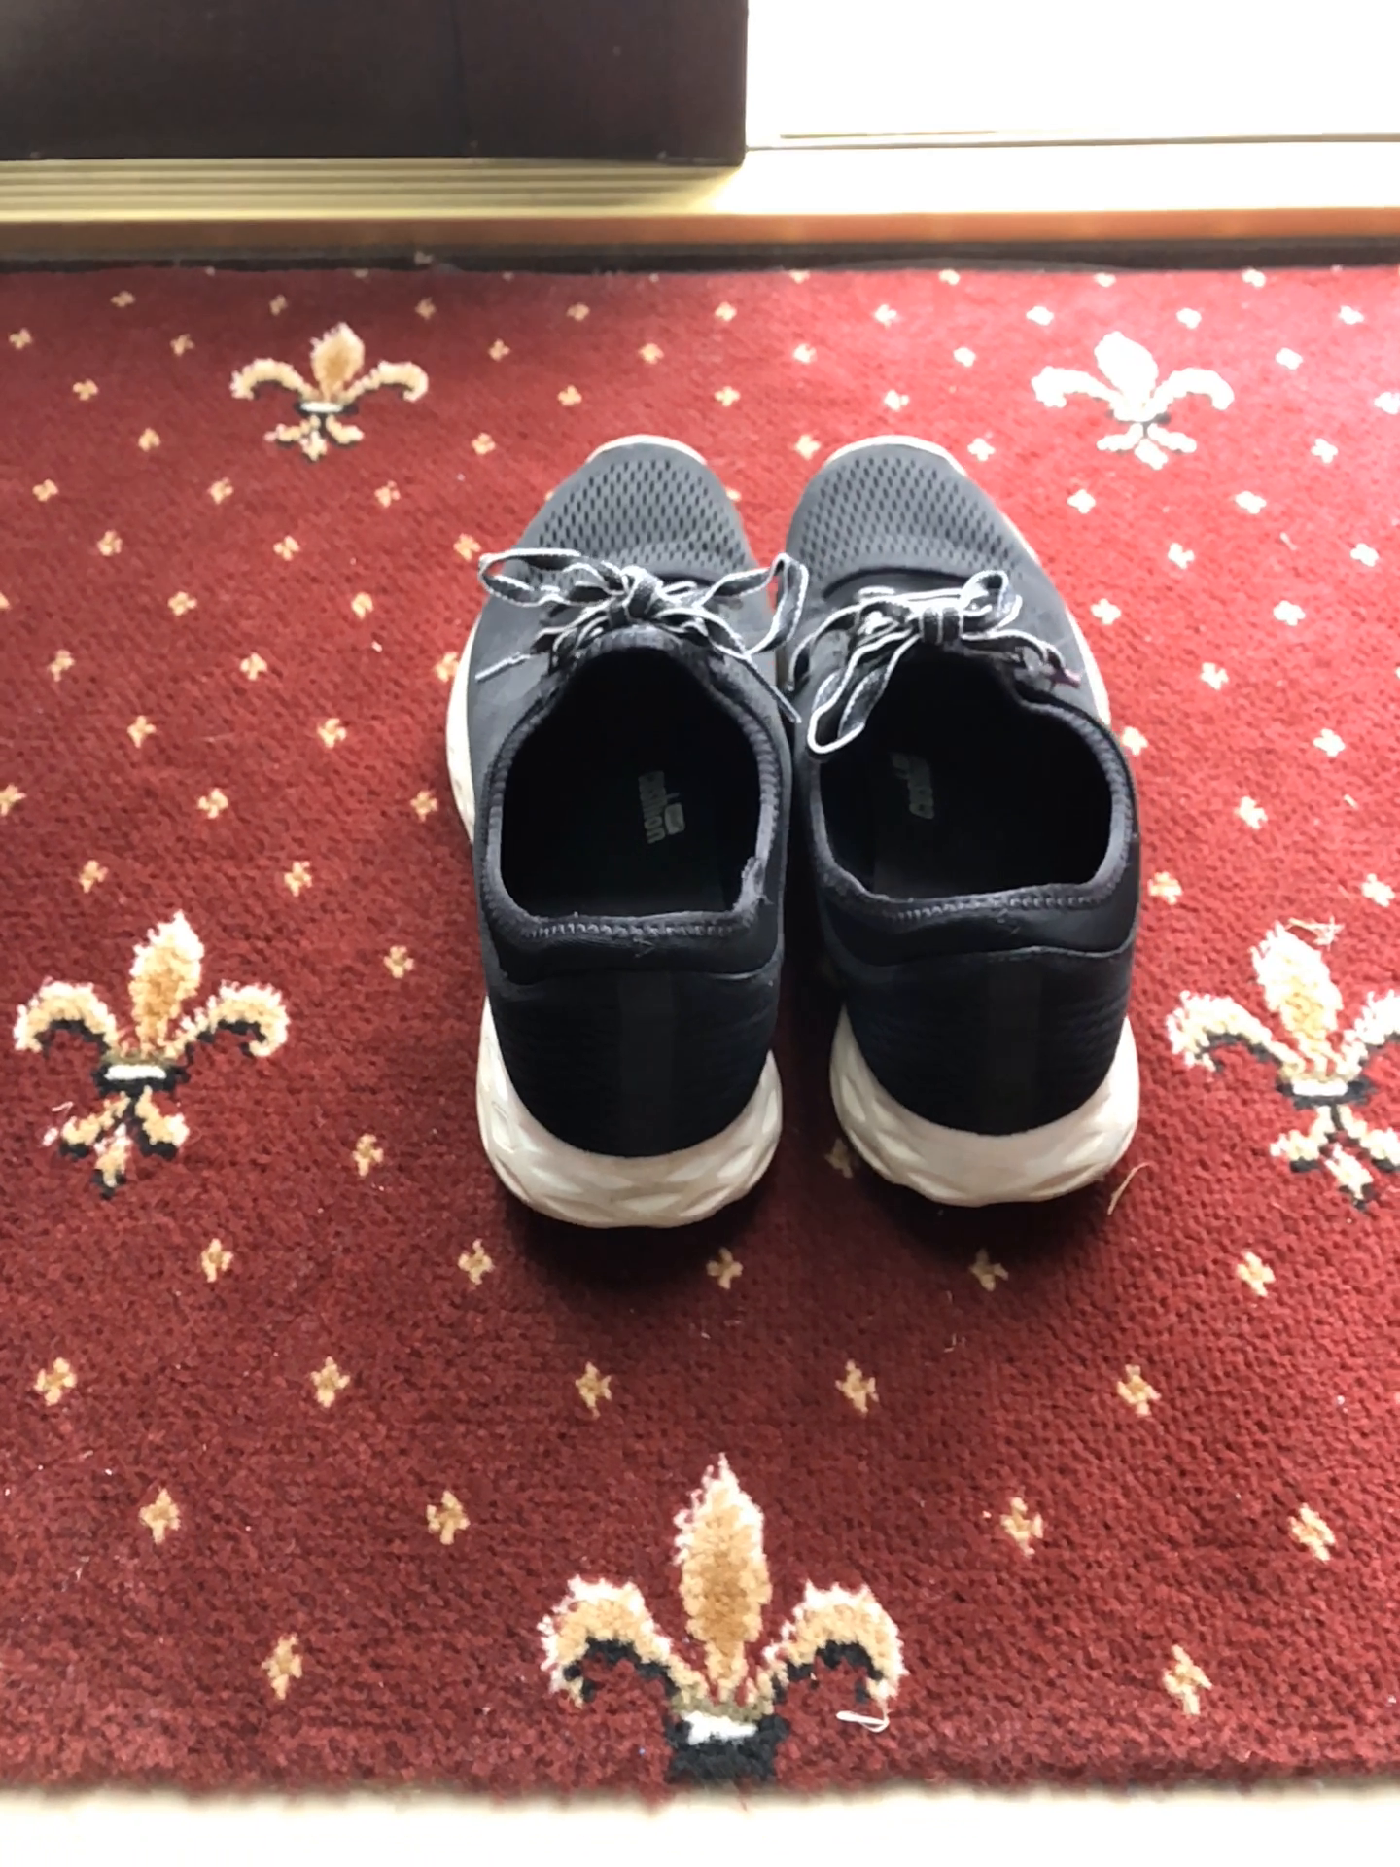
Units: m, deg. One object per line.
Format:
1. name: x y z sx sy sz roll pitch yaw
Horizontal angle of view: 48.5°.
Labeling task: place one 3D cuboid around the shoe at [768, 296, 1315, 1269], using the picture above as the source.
1. shoe: 0.073 -0.055 0.435 0.100 0.109 0.272 0 51 1

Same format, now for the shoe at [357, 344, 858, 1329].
1. shoe: -0.022 -0.041 0.439 0.100 0.109 0.272 -2 51 -1
